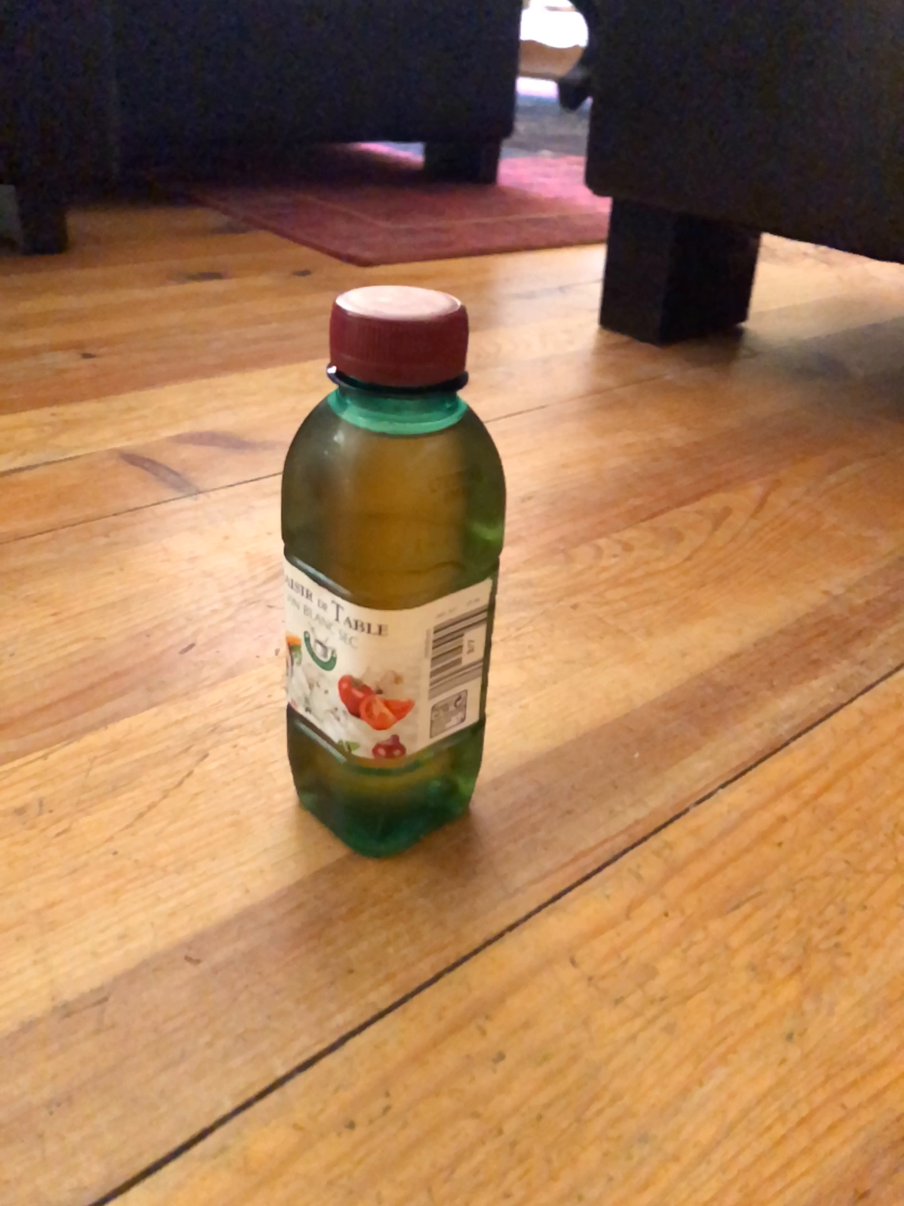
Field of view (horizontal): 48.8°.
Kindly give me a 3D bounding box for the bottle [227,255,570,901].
[{"bbox_3d":[-0.018,-0.005,0.261,0.050,0.149,0.060,-22,39,-37],"label":"bottle"}]
